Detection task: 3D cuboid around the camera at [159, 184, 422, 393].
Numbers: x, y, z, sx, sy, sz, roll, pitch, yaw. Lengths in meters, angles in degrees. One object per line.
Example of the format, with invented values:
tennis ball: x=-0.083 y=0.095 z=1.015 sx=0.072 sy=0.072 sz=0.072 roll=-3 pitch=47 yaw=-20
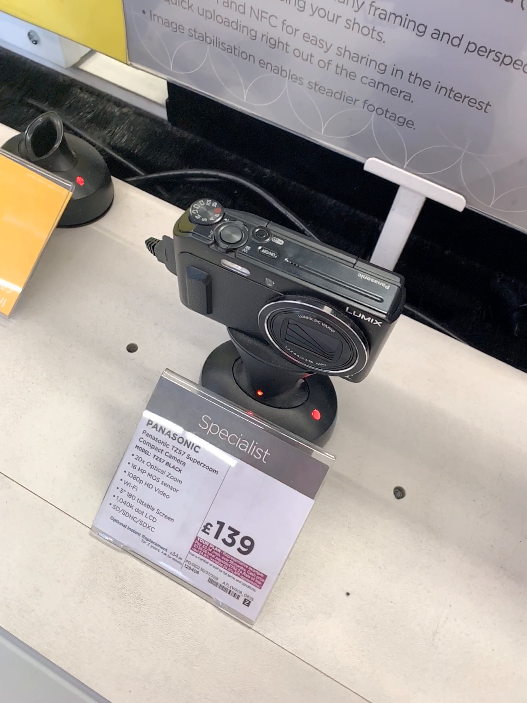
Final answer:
camera: x=0.009 y=-0.028 z=0.259 sx=0.111 sy=0.060 sz=0.030 roll=24 pitch=61 yaw=9
